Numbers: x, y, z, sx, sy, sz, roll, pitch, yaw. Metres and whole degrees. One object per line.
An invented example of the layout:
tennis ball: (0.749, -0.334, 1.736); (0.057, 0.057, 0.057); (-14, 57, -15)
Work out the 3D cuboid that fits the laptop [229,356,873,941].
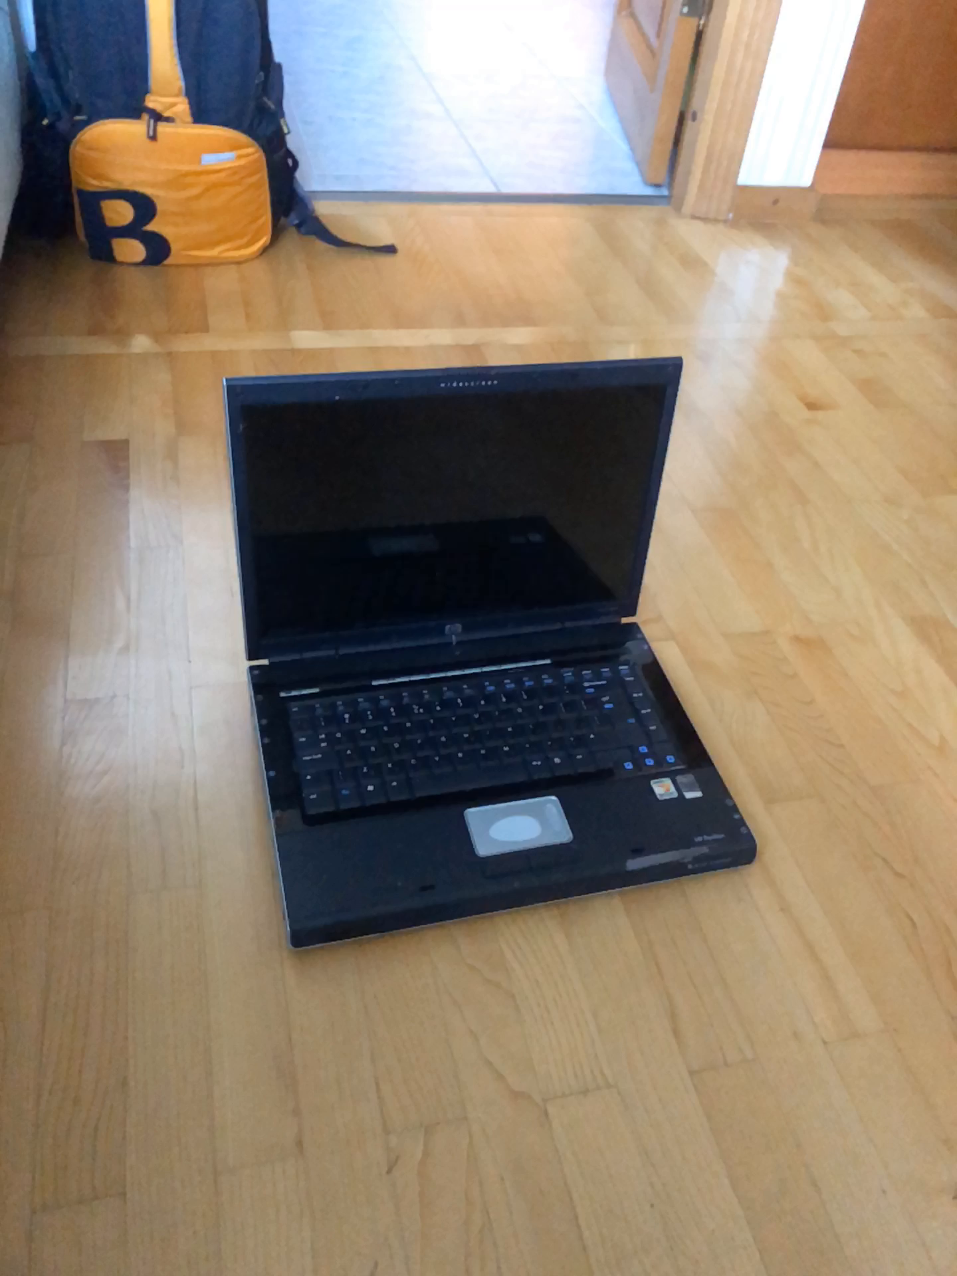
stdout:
laptop: (0.019, -0.011, 0.798); (0.364, 0.254, 0.307); (-7, 45, -15)
